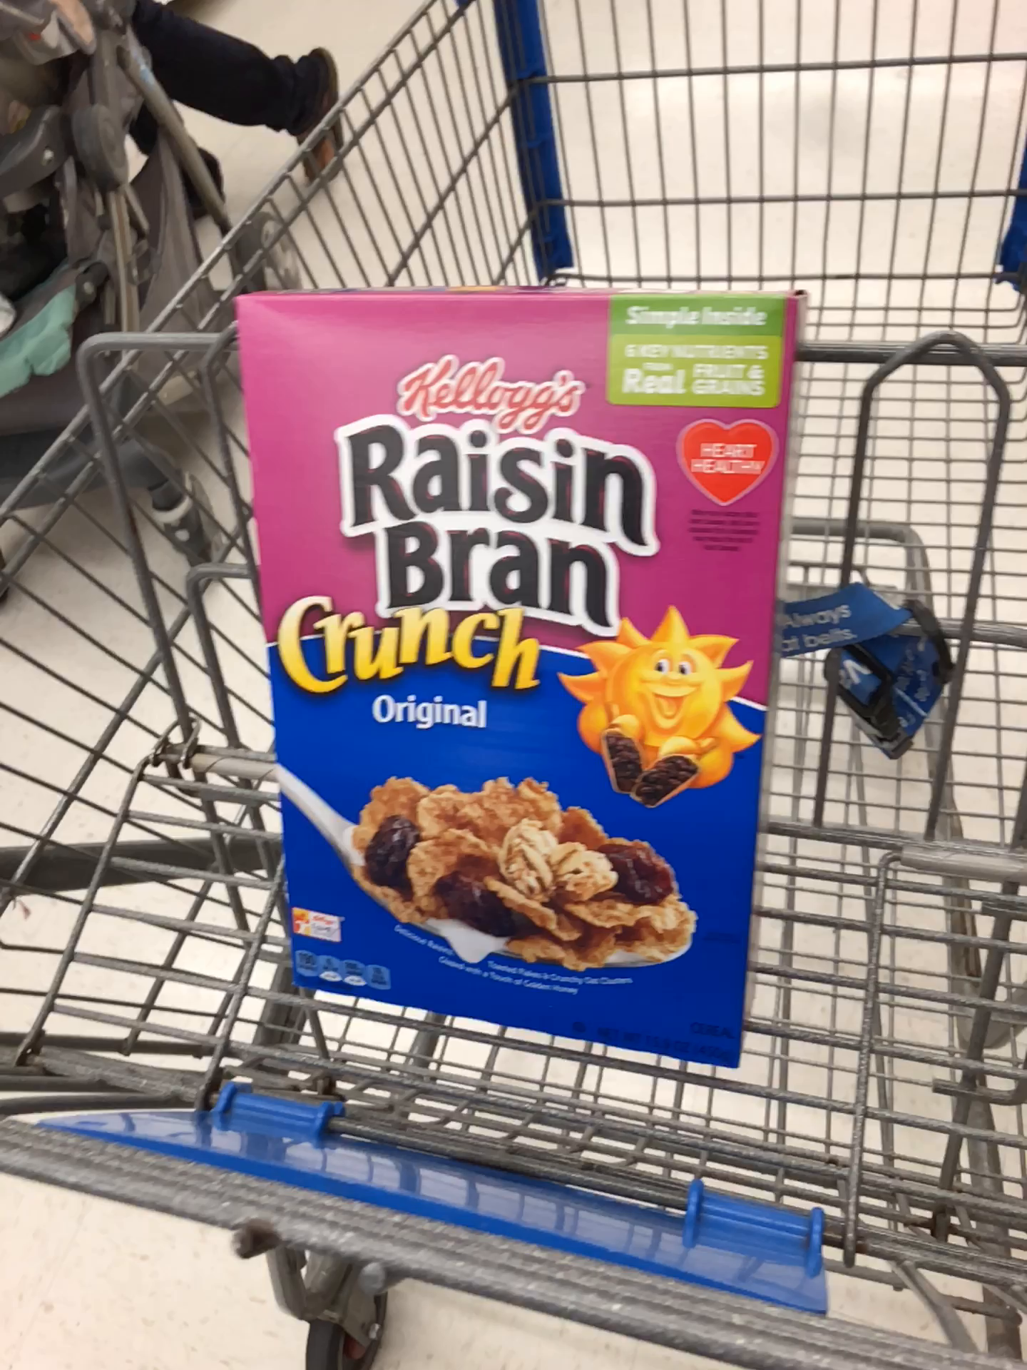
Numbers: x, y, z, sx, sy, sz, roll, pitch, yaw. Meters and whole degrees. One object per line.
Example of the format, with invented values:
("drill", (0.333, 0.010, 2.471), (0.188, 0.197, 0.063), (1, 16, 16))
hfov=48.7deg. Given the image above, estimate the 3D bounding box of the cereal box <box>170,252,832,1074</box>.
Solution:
("cereal box", (-0.003, -0.009, 0.422), (0.210, 0.280, 0.060), (5, 21, 16))
